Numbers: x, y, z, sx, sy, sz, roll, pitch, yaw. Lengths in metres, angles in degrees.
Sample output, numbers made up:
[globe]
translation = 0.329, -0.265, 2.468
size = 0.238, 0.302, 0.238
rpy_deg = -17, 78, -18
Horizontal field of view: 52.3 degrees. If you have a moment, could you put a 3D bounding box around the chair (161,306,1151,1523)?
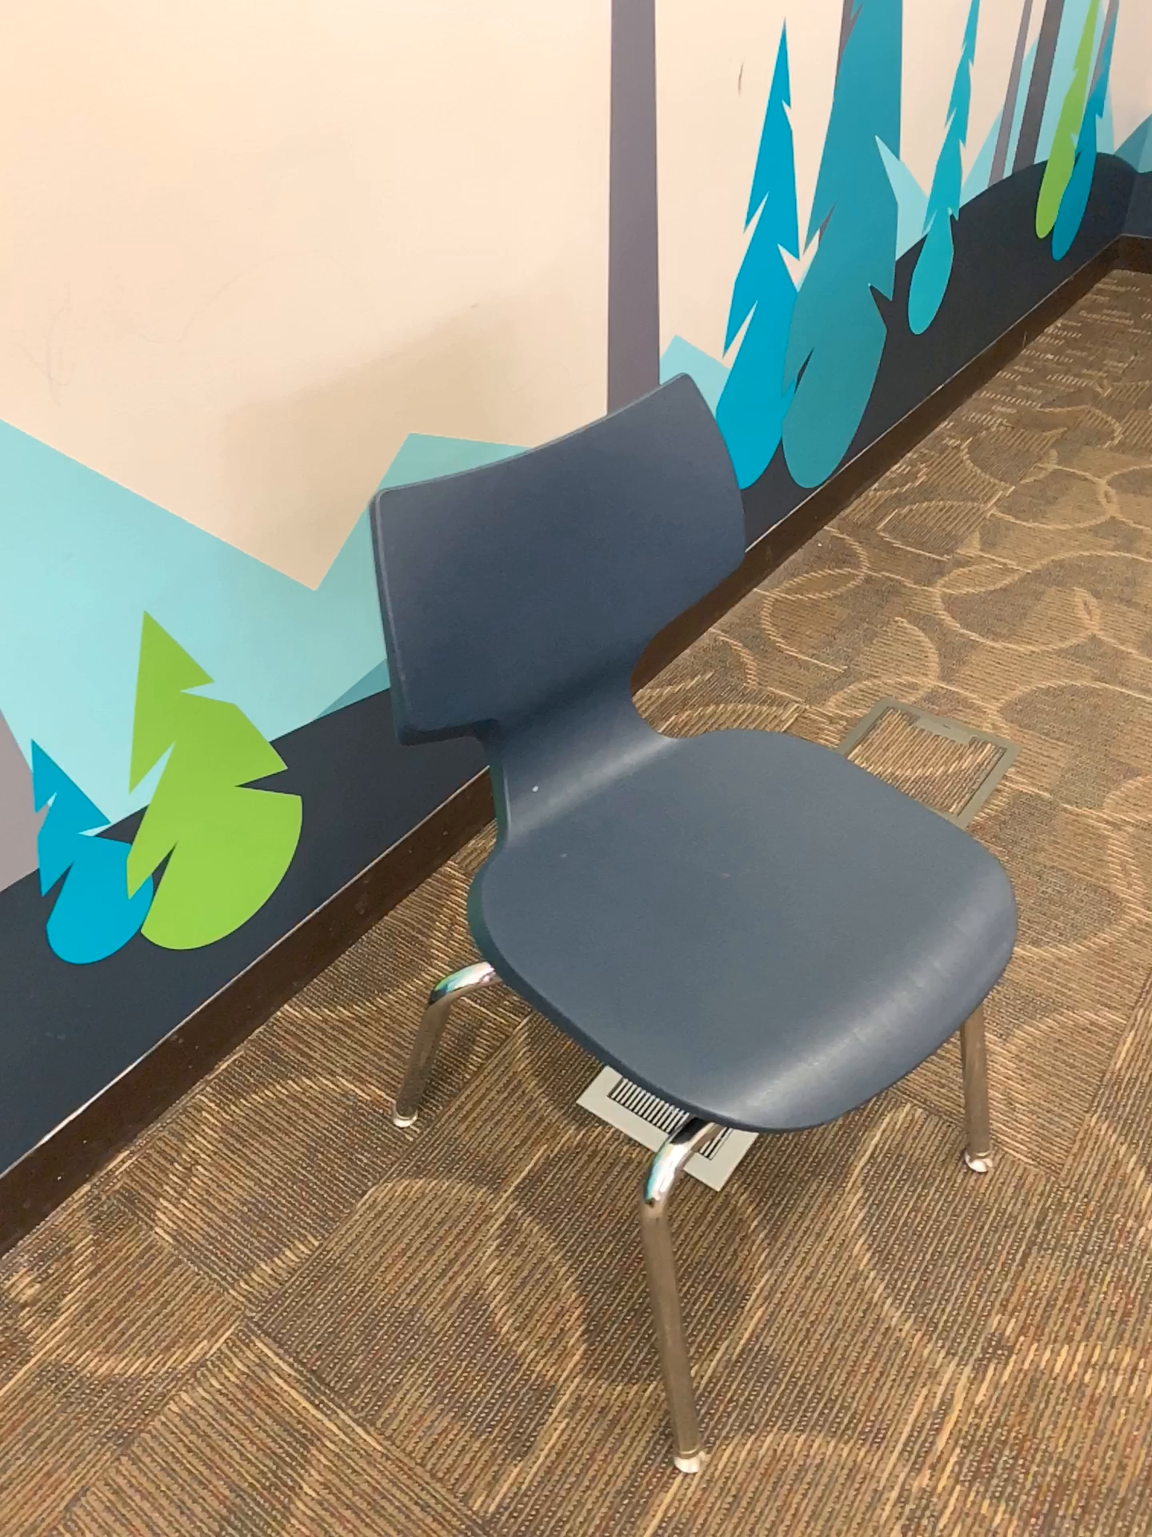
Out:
[chair]
translation = 0.110, 0.095, 1.077
size = 0.571, 0.746, 0.582
rpy_deg = -30, 47, -30
